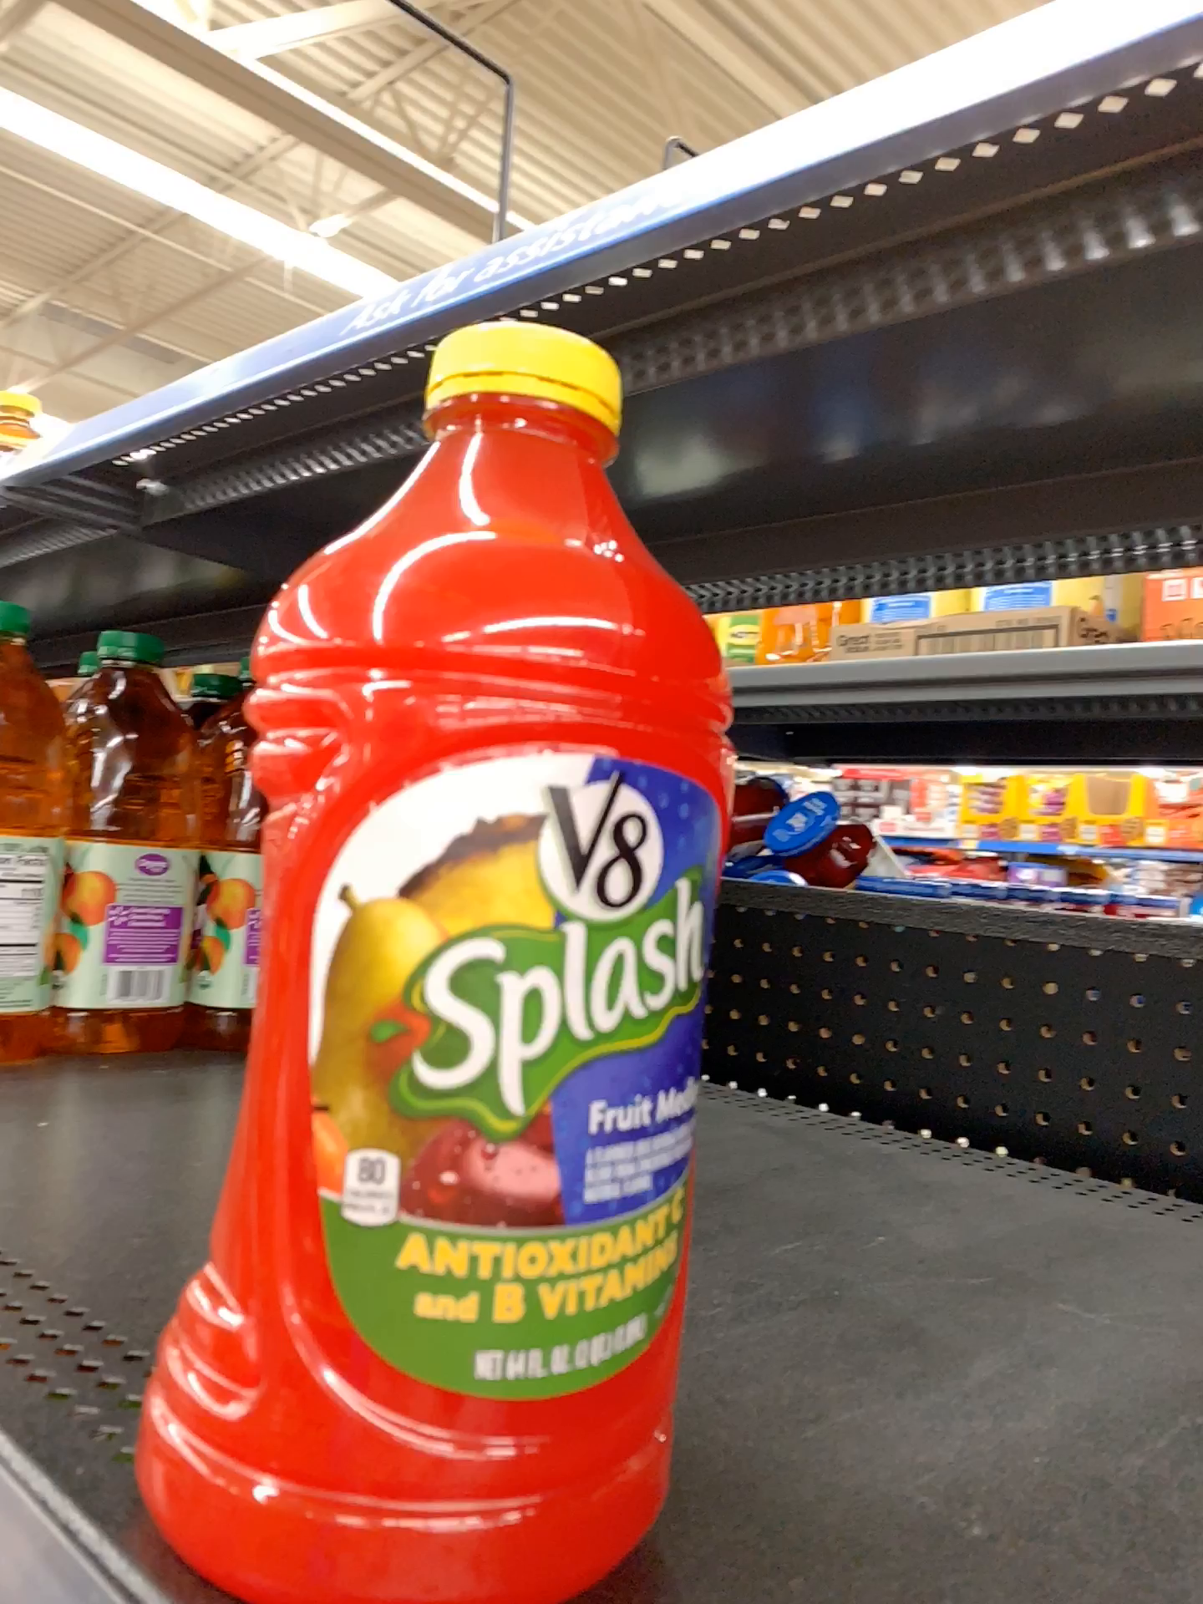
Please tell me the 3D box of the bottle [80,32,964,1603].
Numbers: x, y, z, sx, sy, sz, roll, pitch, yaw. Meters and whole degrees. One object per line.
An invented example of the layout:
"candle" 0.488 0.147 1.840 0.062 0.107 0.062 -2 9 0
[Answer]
"bottle" -0.022 0.013 0.280 0.140 0.265 0.122 6 -3 -31
